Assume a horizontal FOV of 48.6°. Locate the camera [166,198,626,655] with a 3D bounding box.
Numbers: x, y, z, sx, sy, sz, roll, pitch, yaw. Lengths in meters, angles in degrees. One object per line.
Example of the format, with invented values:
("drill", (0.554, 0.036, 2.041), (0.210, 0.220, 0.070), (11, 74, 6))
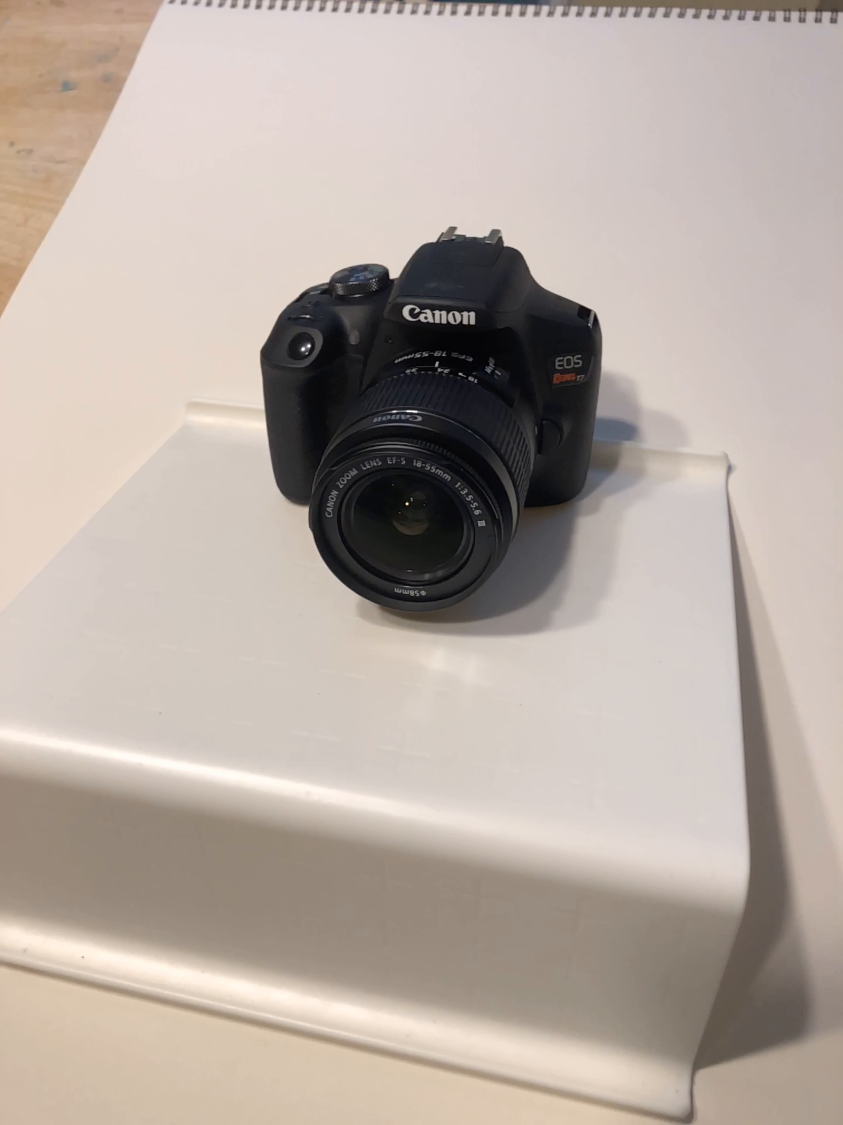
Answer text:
("camera", (0.001, -0.060, 0.344), (0.125, 0.104, 0.141), (8, 34, 10))
